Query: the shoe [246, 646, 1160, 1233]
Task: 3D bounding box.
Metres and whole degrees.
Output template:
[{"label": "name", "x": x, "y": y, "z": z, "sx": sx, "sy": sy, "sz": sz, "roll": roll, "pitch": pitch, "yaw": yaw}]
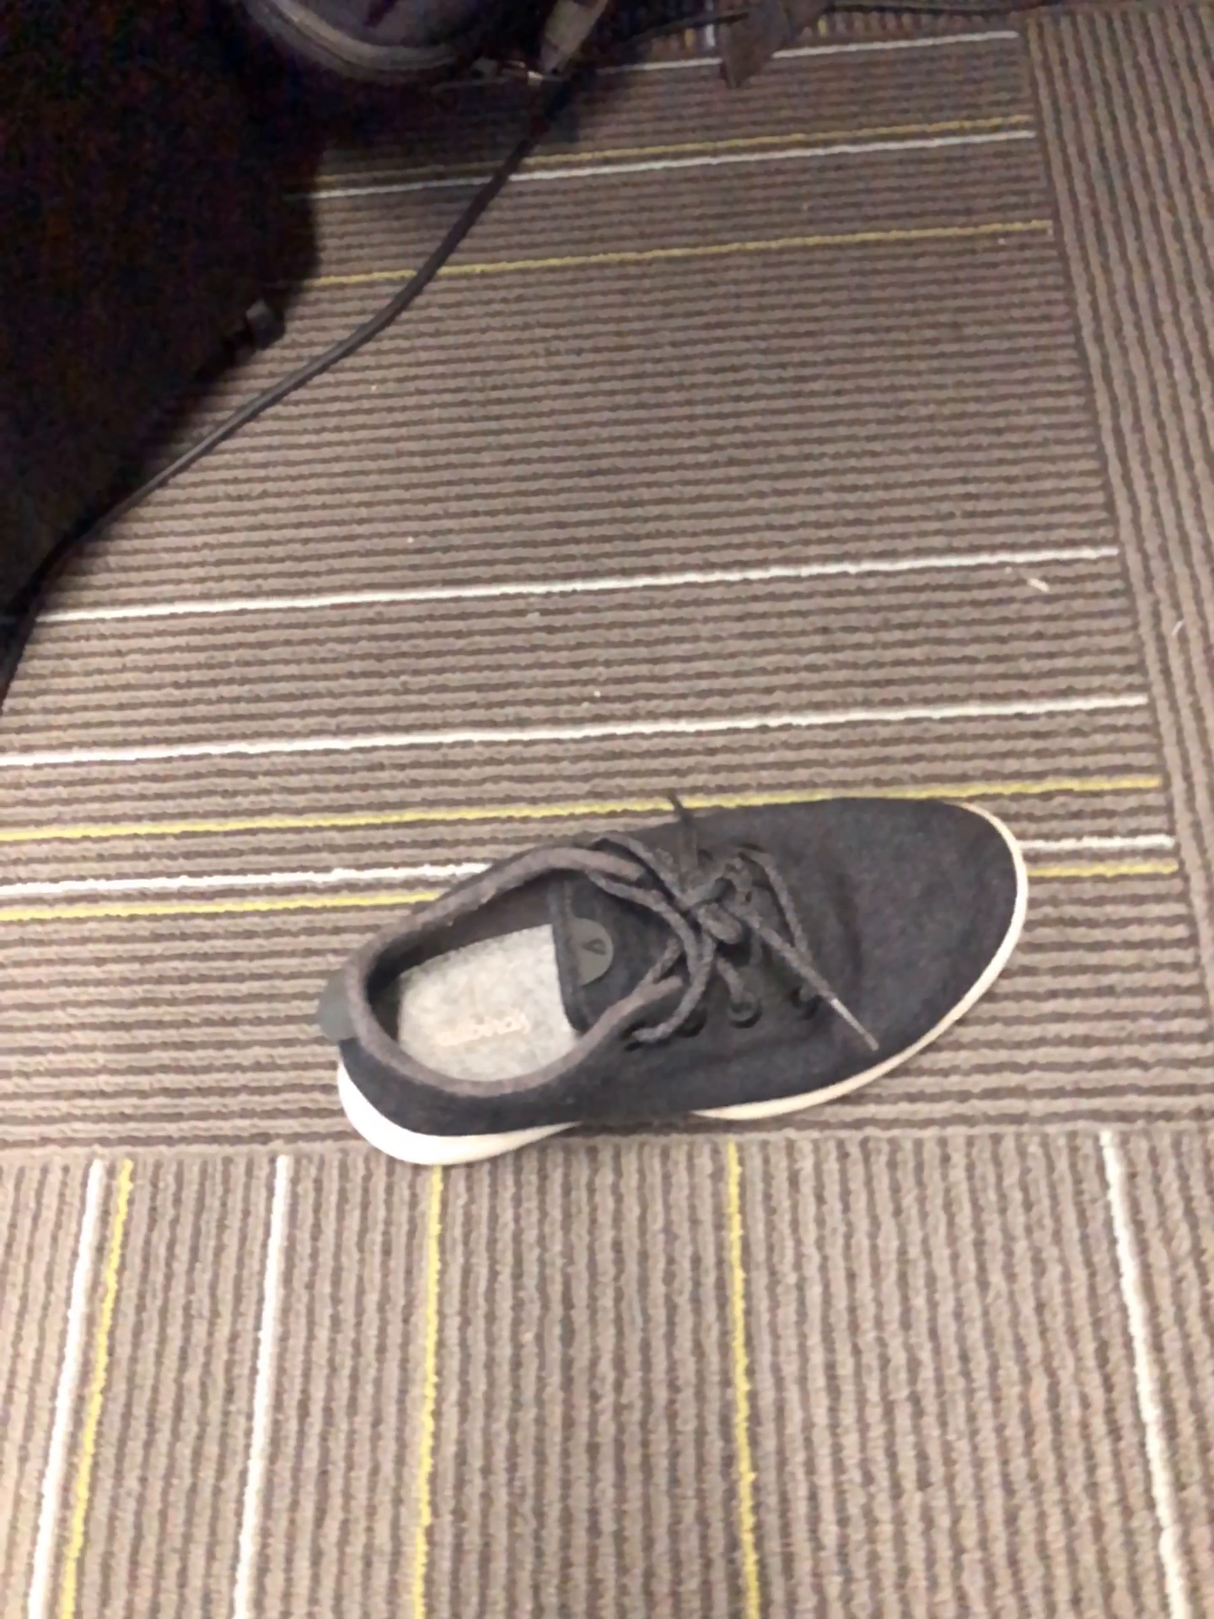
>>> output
[{"label": "shoe", "x": 0.026, "y": 0.046, "z": 0.465, "sx": 0.270, "sy": 0.070, "sz": 0.120, "roll": -15, "pitch": 65, "yaw": 0}]
